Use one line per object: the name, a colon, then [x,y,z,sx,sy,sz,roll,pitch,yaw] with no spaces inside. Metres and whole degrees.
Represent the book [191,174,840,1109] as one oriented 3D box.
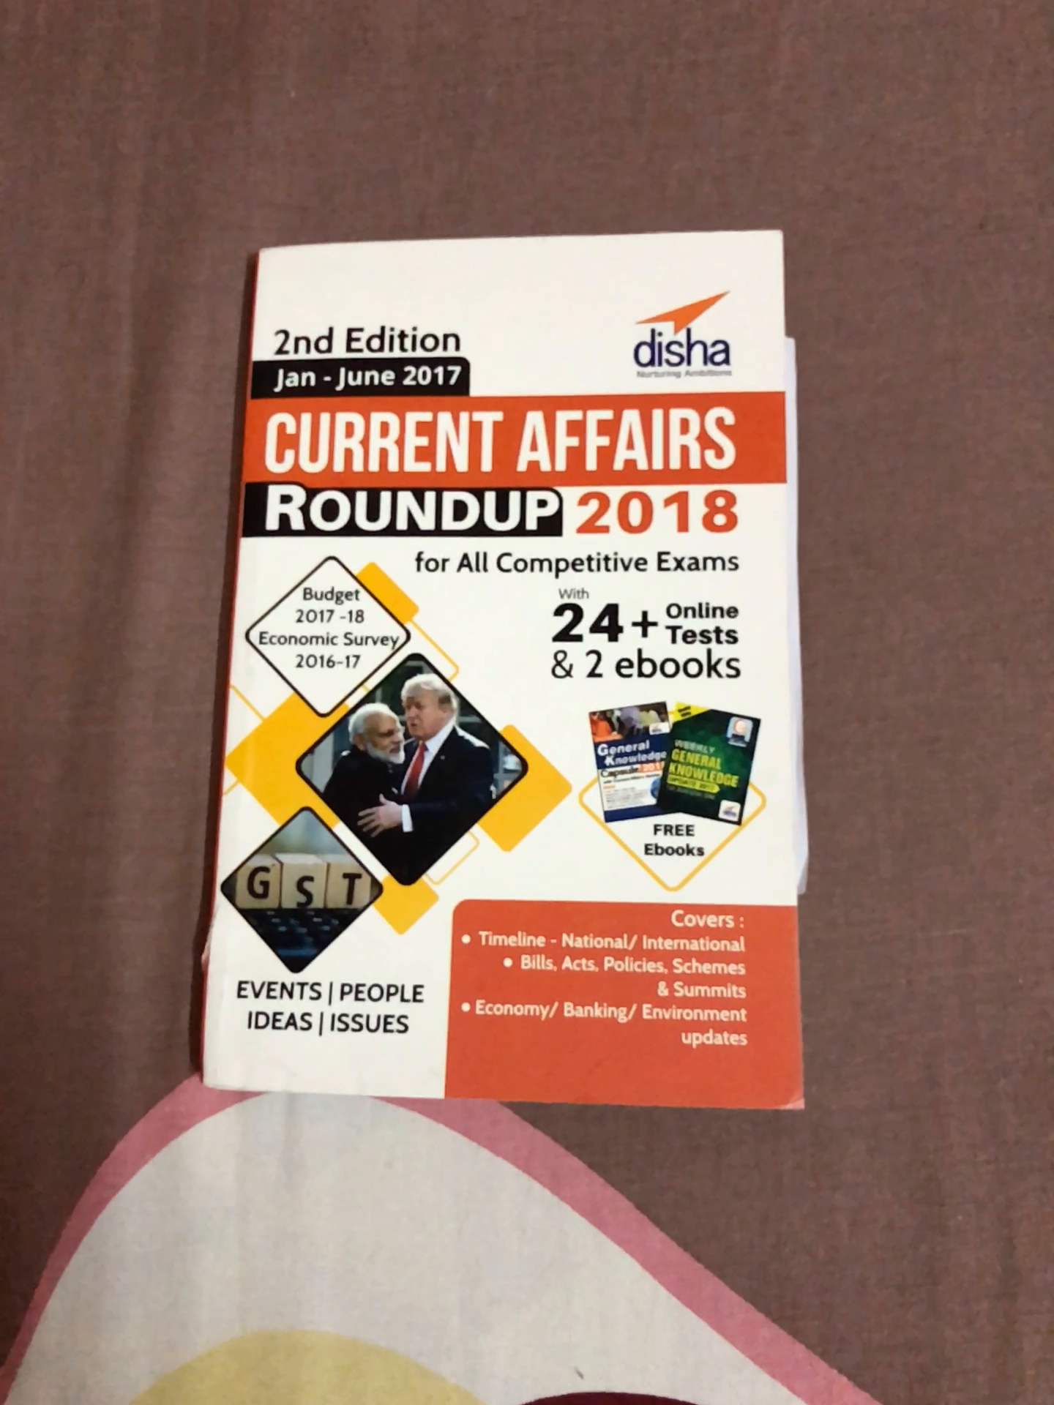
book: [0.000,-0.019,0.294,0.140,0.040,0.220,0,78,5]
